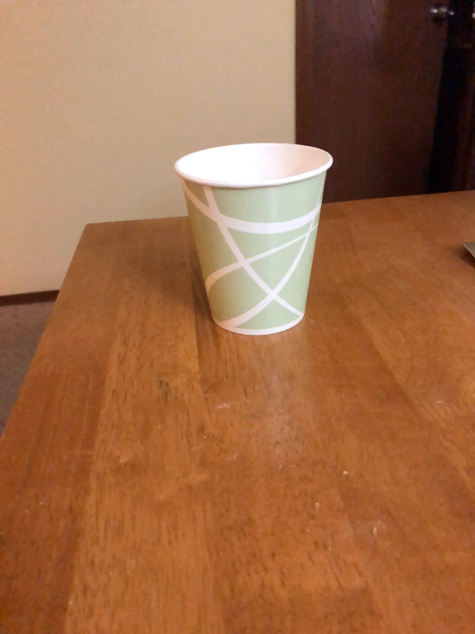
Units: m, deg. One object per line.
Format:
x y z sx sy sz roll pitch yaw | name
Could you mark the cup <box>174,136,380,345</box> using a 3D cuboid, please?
0.018 -0.050 0.317 0.100 0.090 0.090 -6 29 -5 | cup
